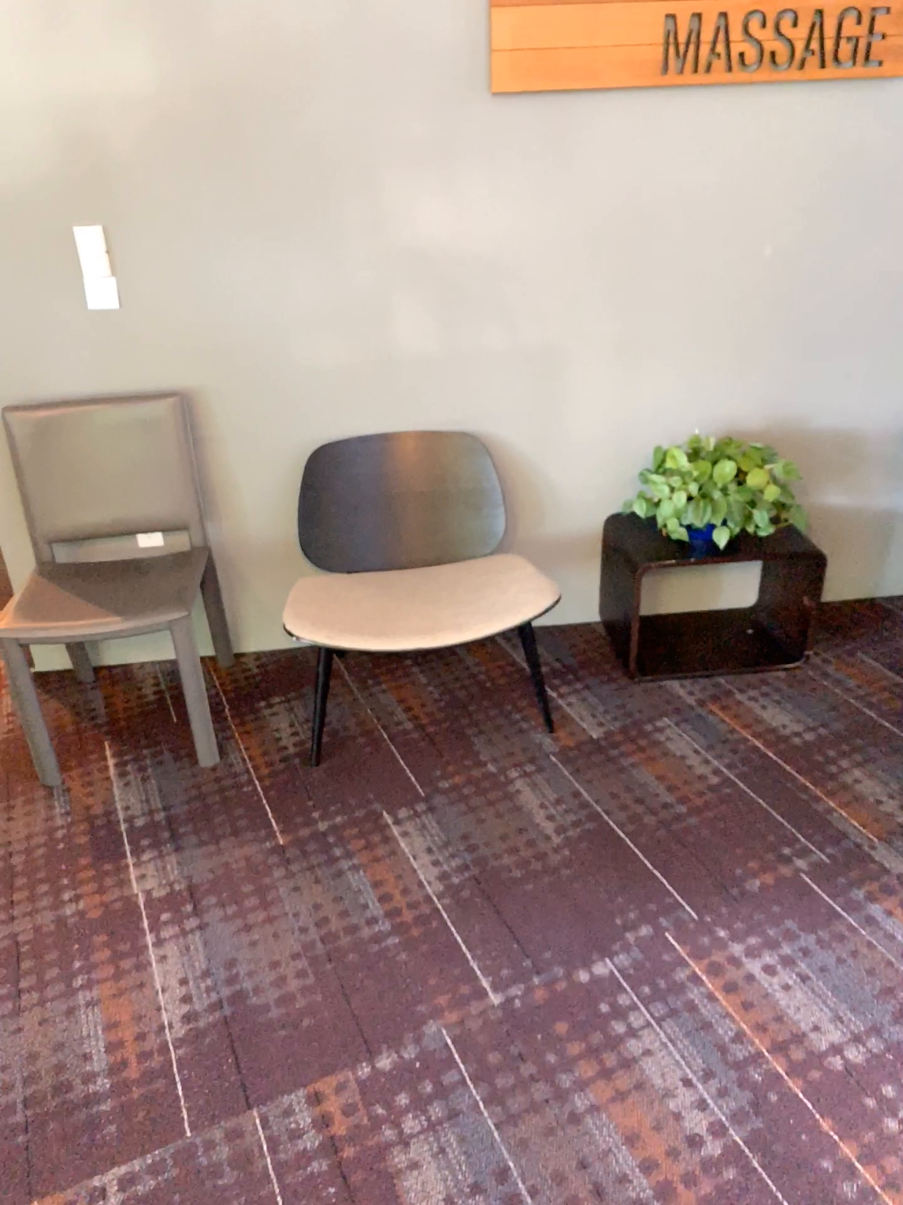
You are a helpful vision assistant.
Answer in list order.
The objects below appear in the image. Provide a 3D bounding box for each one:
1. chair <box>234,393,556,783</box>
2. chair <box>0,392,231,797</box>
[{"bbox_3d":[-0.171,-0.078,2.765,0.790,0.835,0.715,-7,28,-7],"label":"chair"},{"bbox_3d":[-1.018,-0.054,2.604,0.640,0.835,0.694,-7,28,-7],"label":"chair"}]
